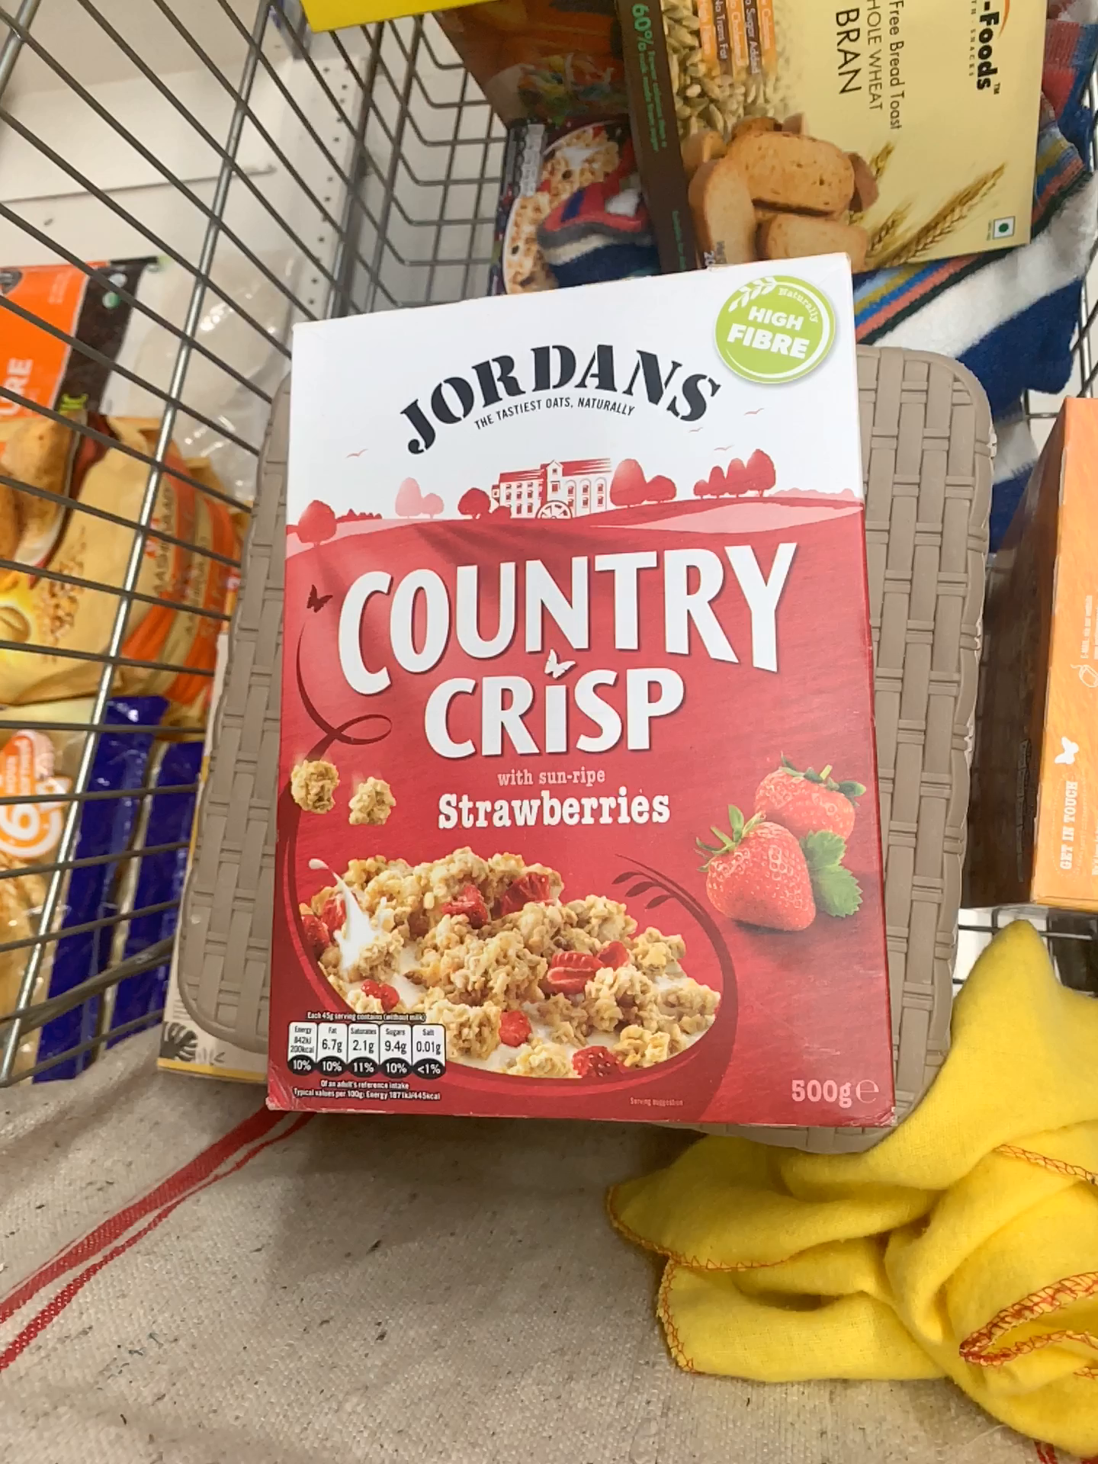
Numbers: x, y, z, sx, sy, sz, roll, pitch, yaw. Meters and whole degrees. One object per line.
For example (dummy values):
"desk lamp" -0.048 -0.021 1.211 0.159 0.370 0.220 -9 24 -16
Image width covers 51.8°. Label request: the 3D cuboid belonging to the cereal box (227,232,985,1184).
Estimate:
"cereal box" 0.014 -0.004 0.320 0.180 0.070 0.230 -3 79 13
